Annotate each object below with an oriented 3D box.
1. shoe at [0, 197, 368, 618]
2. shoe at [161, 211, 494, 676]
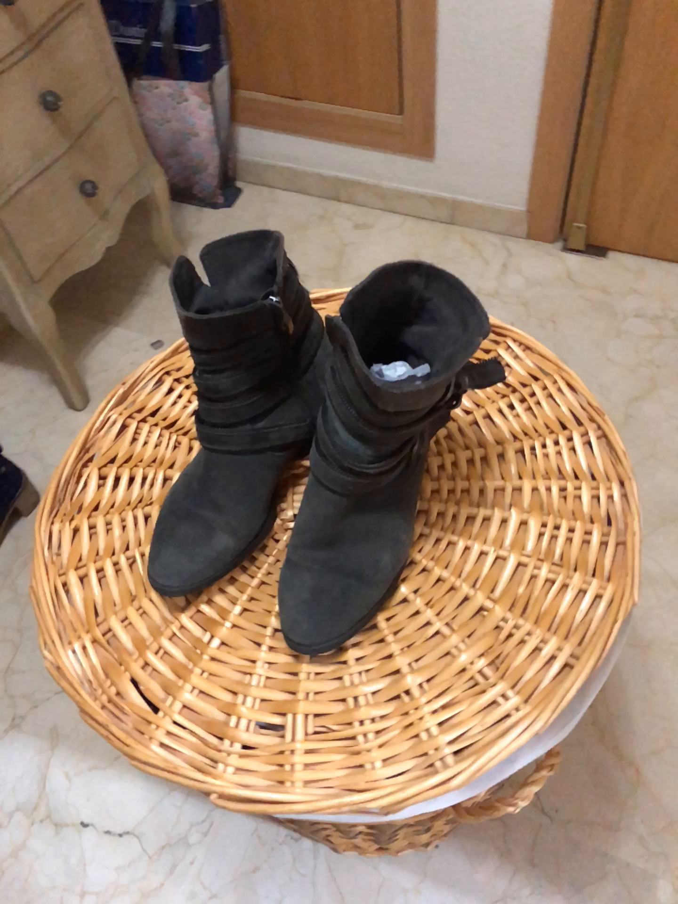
[{"bbox_3d":[-0.091,-0.041,0.571,0.110,0.169,0.261,12,56,23],"label":"shoe"},{"bbox_3d":[0.012,-0.011,0.527,0.110,0.169,0.261,16,57,17],"label":"shoe"}]
